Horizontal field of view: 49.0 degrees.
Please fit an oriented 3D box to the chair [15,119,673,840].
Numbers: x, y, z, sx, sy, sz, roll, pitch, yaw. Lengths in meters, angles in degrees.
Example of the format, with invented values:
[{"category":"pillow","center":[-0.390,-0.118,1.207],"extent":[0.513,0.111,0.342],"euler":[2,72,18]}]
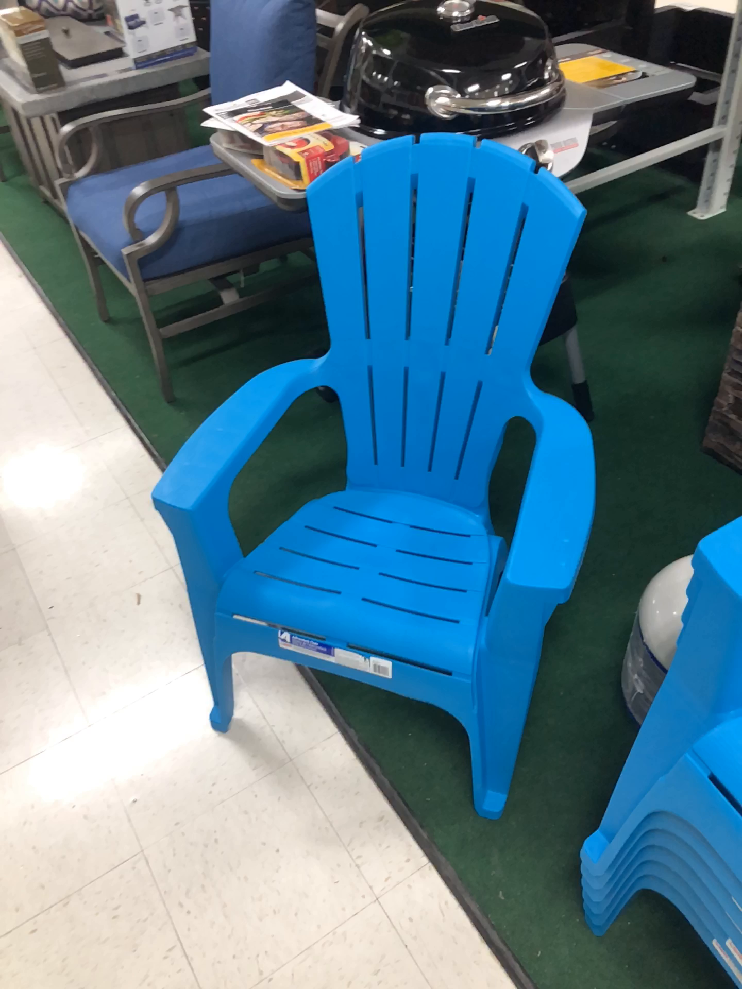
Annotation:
[{"category":"chair","center":[0.042,-0.025,1.399],"extent":[0.682,0.932,0.649],"euler":[12,46,18]}]
